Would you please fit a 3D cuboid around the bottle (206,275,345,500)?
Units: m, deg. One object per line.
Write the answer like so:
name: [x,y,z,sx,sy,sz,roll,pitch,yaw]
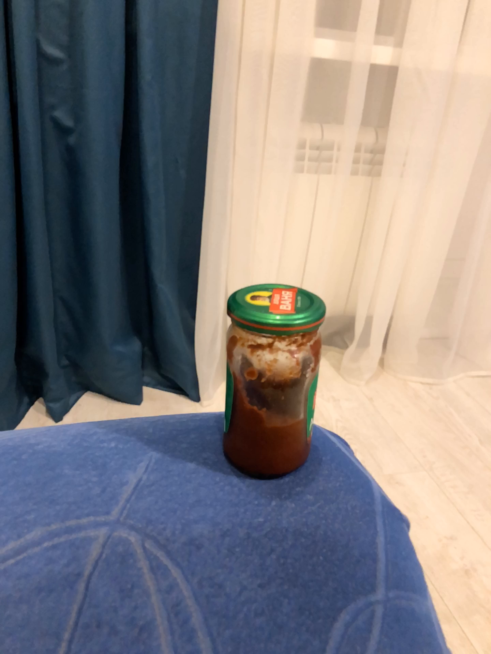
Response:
bottle: [0.015,0.029,0.279,0.060,0.092,0.060,2,25,-1]
